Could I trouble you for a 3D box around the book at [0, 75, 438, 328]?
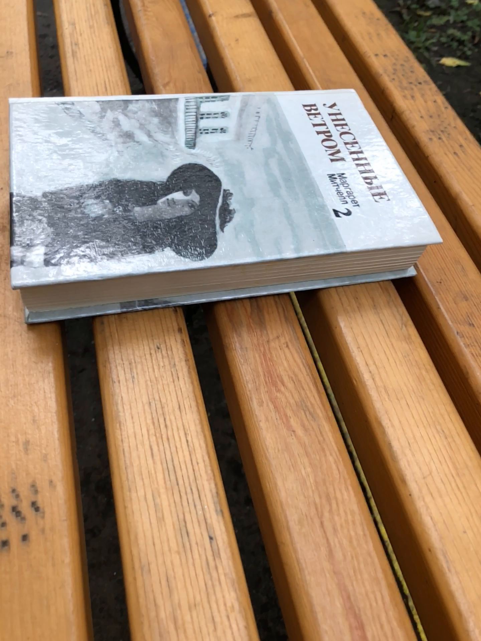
[{"bbox_3d":[-0.022,-0.075,0.290,0.210,0.030,0.140,-7,57,-12],"label":"book"}]
